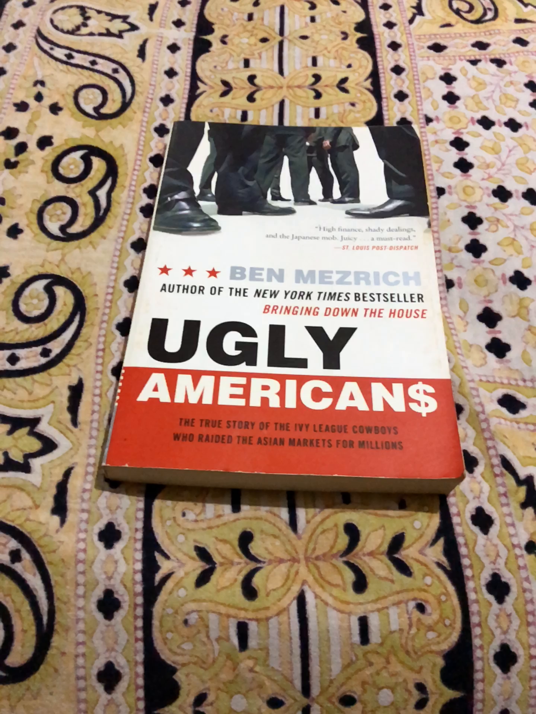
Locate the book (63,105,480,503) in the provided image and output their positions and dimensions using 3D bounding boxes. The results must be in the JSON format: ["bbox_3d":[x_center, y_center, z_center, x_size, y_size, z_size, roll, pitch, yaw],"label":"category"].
[{"bbox_3d":[0.004,-0.036,0.263,0.140,0.030,0.190,1,59,2],"label":"book"}]
